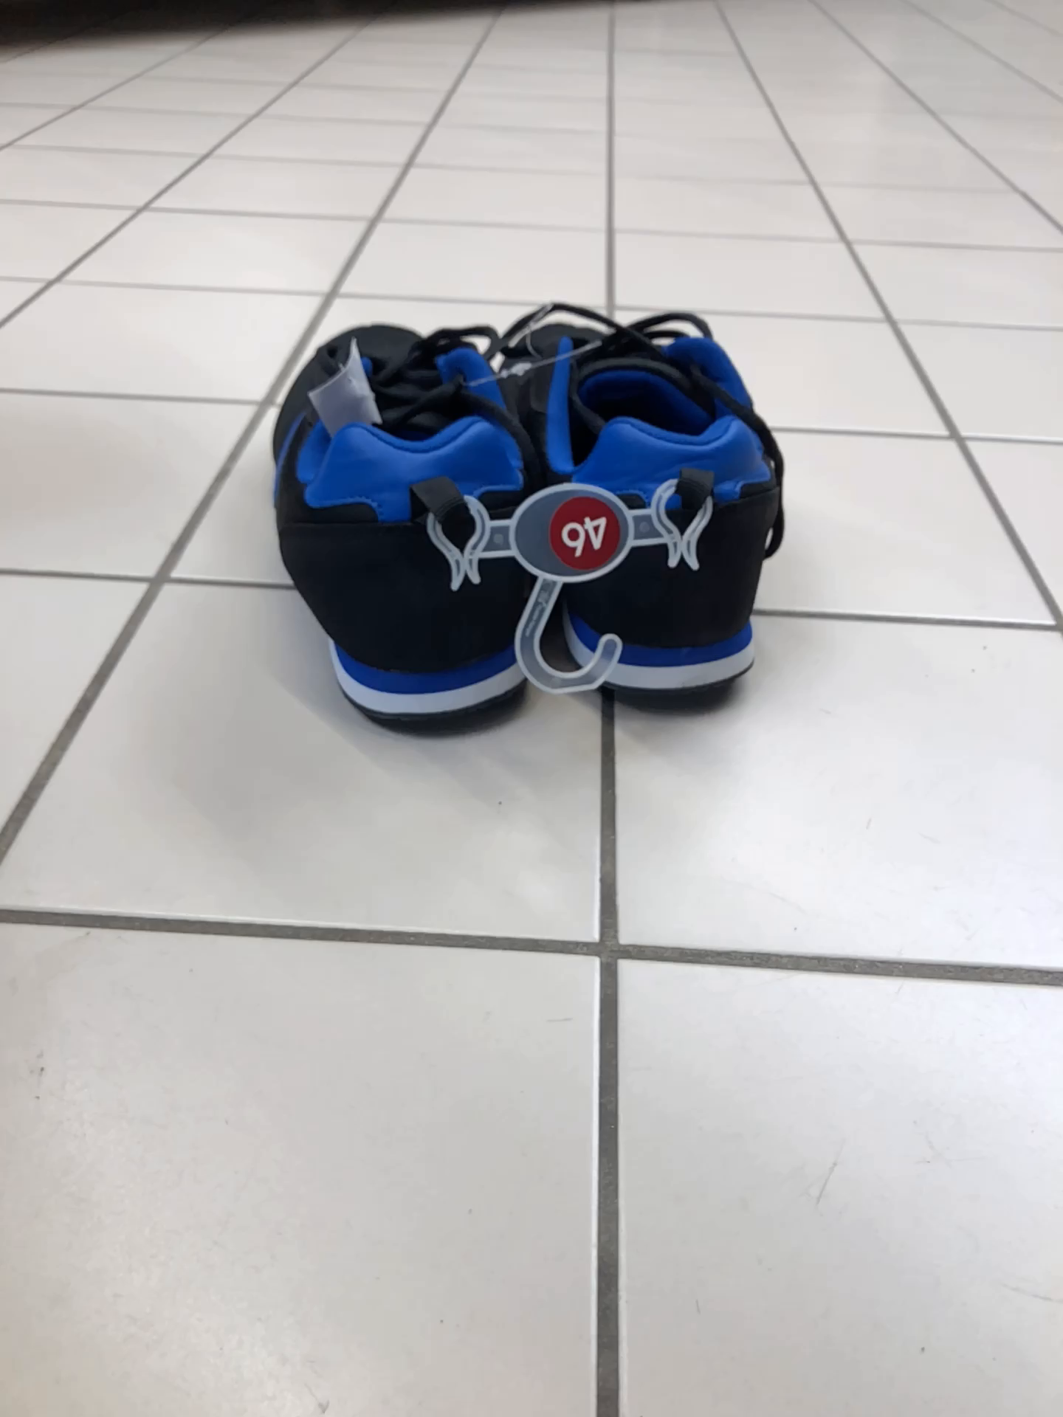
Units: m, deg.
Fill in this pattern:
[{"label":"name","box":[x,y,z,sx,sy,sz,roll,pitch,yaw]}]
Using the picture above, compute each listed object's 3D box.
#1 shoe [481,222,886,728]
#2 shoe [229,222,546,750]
[{"label":"shoe","box":[0.046,-0.126,0.539,0.100,0.109,0.291,-4,37,-9]},{"label":"shoe","box":[-0.070,-0.119,0.521,0.100,0.109,0.291,-4,37,-9]}]
